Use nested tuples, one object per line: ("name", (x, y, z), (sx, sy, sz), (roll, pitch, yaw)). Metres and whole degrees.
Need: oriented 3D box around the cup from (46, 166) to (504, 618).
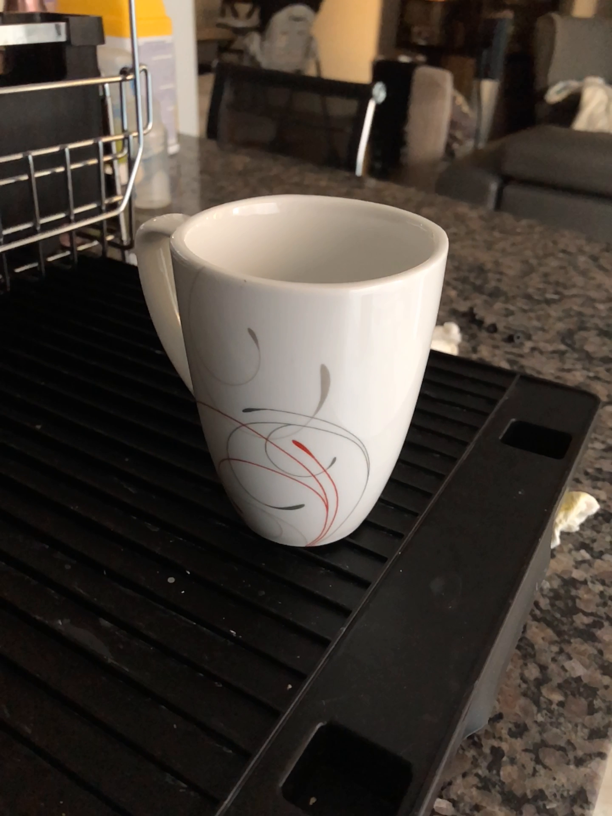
("cup", (-0.009, -0.015, 0.245), (0.116, 0.105, 0.088), (19, 36, 24))
